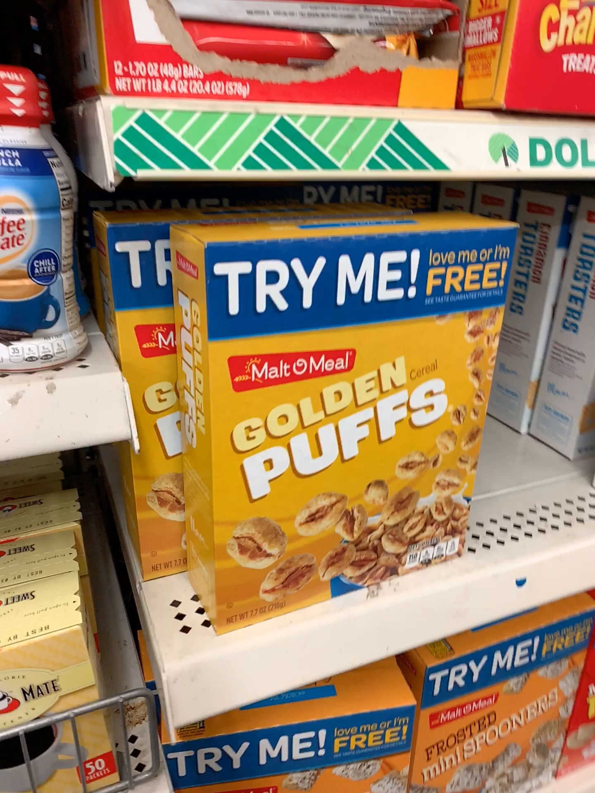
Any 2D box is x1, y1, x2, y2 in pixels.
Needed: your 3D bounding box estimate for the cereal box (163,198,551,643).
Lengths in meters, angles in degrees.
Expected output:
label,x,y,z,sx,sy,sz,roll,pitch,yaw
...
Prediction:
label,x,y,z,sx,sy,sz,roll,pitch,yaw
cereal box,0.032,0.007,0.351,0.190,0.219,0.060,-10,26,-24
